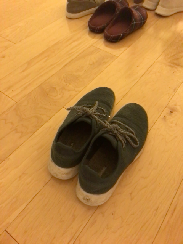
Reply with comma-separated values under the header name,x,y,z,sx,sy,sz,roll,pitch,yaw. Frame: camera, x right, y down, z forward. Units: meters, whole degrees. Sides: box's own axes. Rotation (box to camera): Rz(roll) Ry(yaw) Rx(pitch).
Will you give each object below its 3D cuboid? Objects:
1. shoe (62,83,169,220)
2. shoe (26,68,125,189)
name,x,y,z,sx,sy,sz,roll,pitch,yaw
shoe,0.072,0.052,0.486,0.100,0.099,0.322,28,57,19
shoe,-0.022,0.000,0.527,0.100,0.099,0.312,23,56,16
